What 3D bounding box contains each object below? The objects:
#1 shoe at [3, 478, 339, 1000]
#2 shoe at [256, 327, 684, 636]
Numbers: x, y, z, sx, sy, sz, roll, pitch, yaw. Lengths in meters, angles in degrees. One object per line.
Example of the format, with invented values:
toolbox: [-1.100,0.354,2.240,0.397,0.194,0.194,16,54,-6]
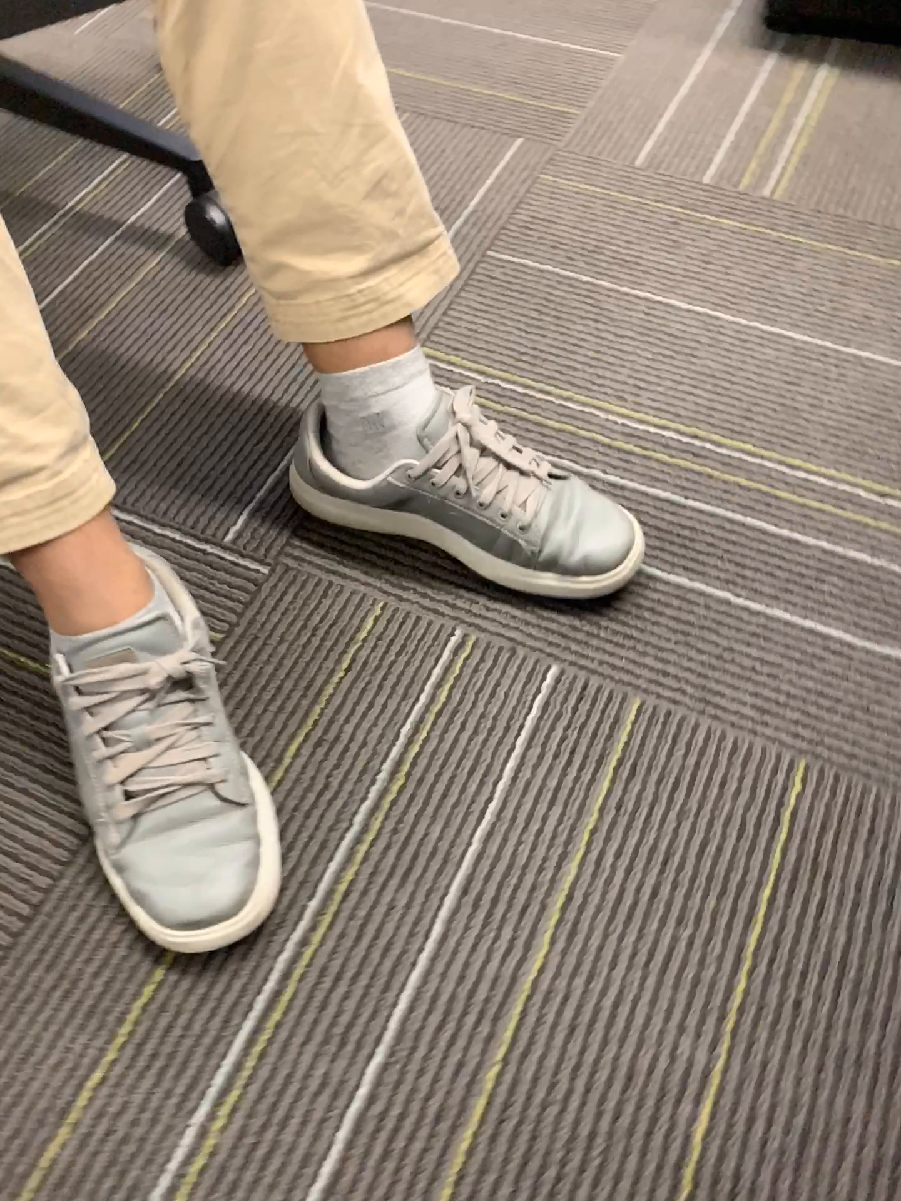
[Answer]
shoe: [-0.178,0.081,0.586,0.120,0.139,0.271,-19,58,-10]
shoe: [0.015,-0.093,0.703,0.280,0.110,0.120,18,59,14]
